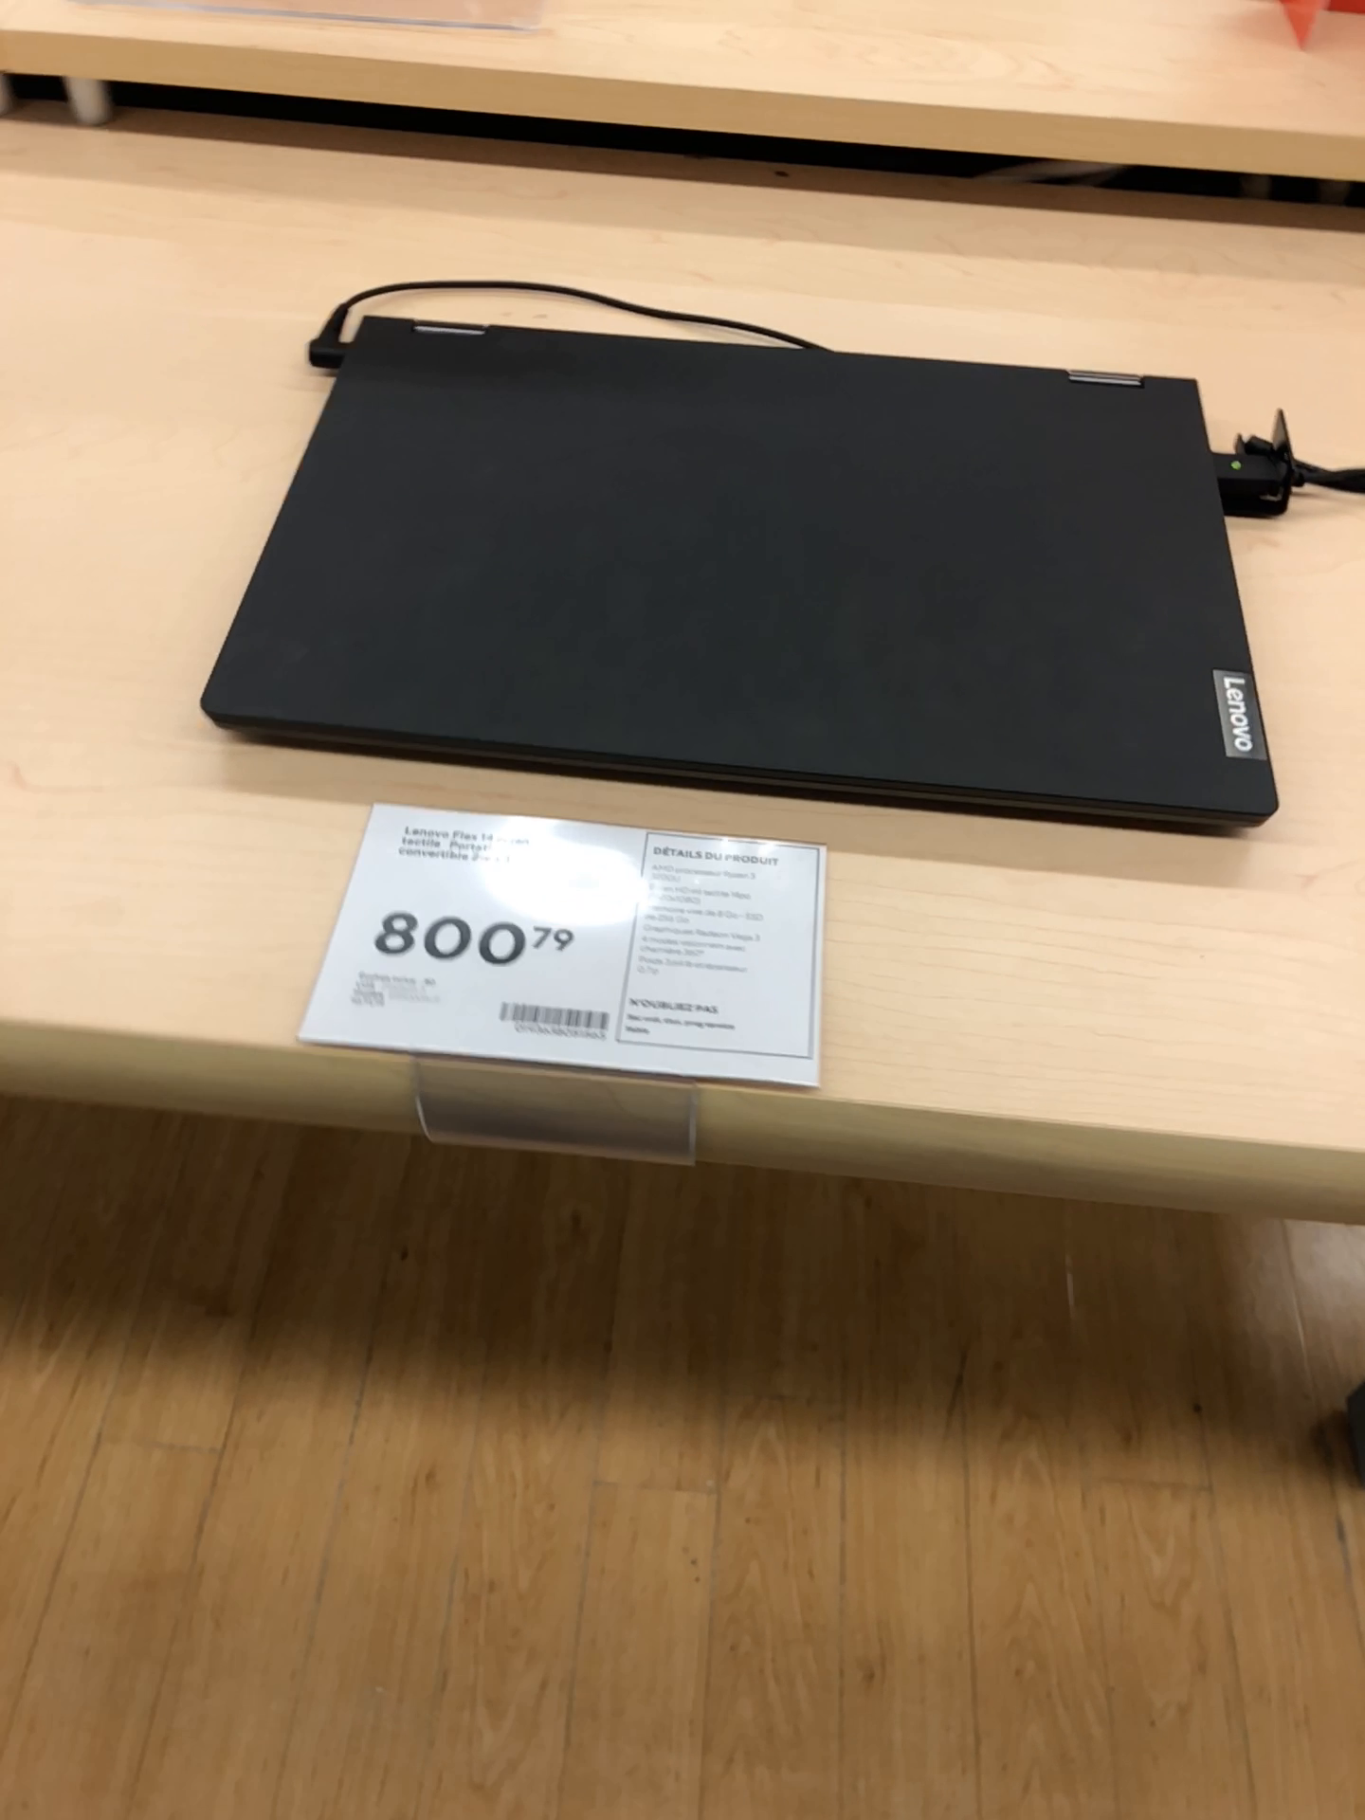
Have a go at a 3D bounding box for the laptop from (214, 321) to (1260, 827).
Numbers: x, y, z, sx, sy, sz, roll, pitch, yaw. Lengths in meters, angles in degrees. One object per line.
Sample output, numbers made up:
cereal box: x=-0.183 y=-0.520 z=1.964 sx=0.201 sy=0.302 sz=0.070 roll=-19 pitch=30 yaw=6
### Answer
laptop: x=0.027 y=-0.129 z=0.532 sx=0.326 sy=0.009 sz=0.212 roll=5 pitch=54 yaw=1
